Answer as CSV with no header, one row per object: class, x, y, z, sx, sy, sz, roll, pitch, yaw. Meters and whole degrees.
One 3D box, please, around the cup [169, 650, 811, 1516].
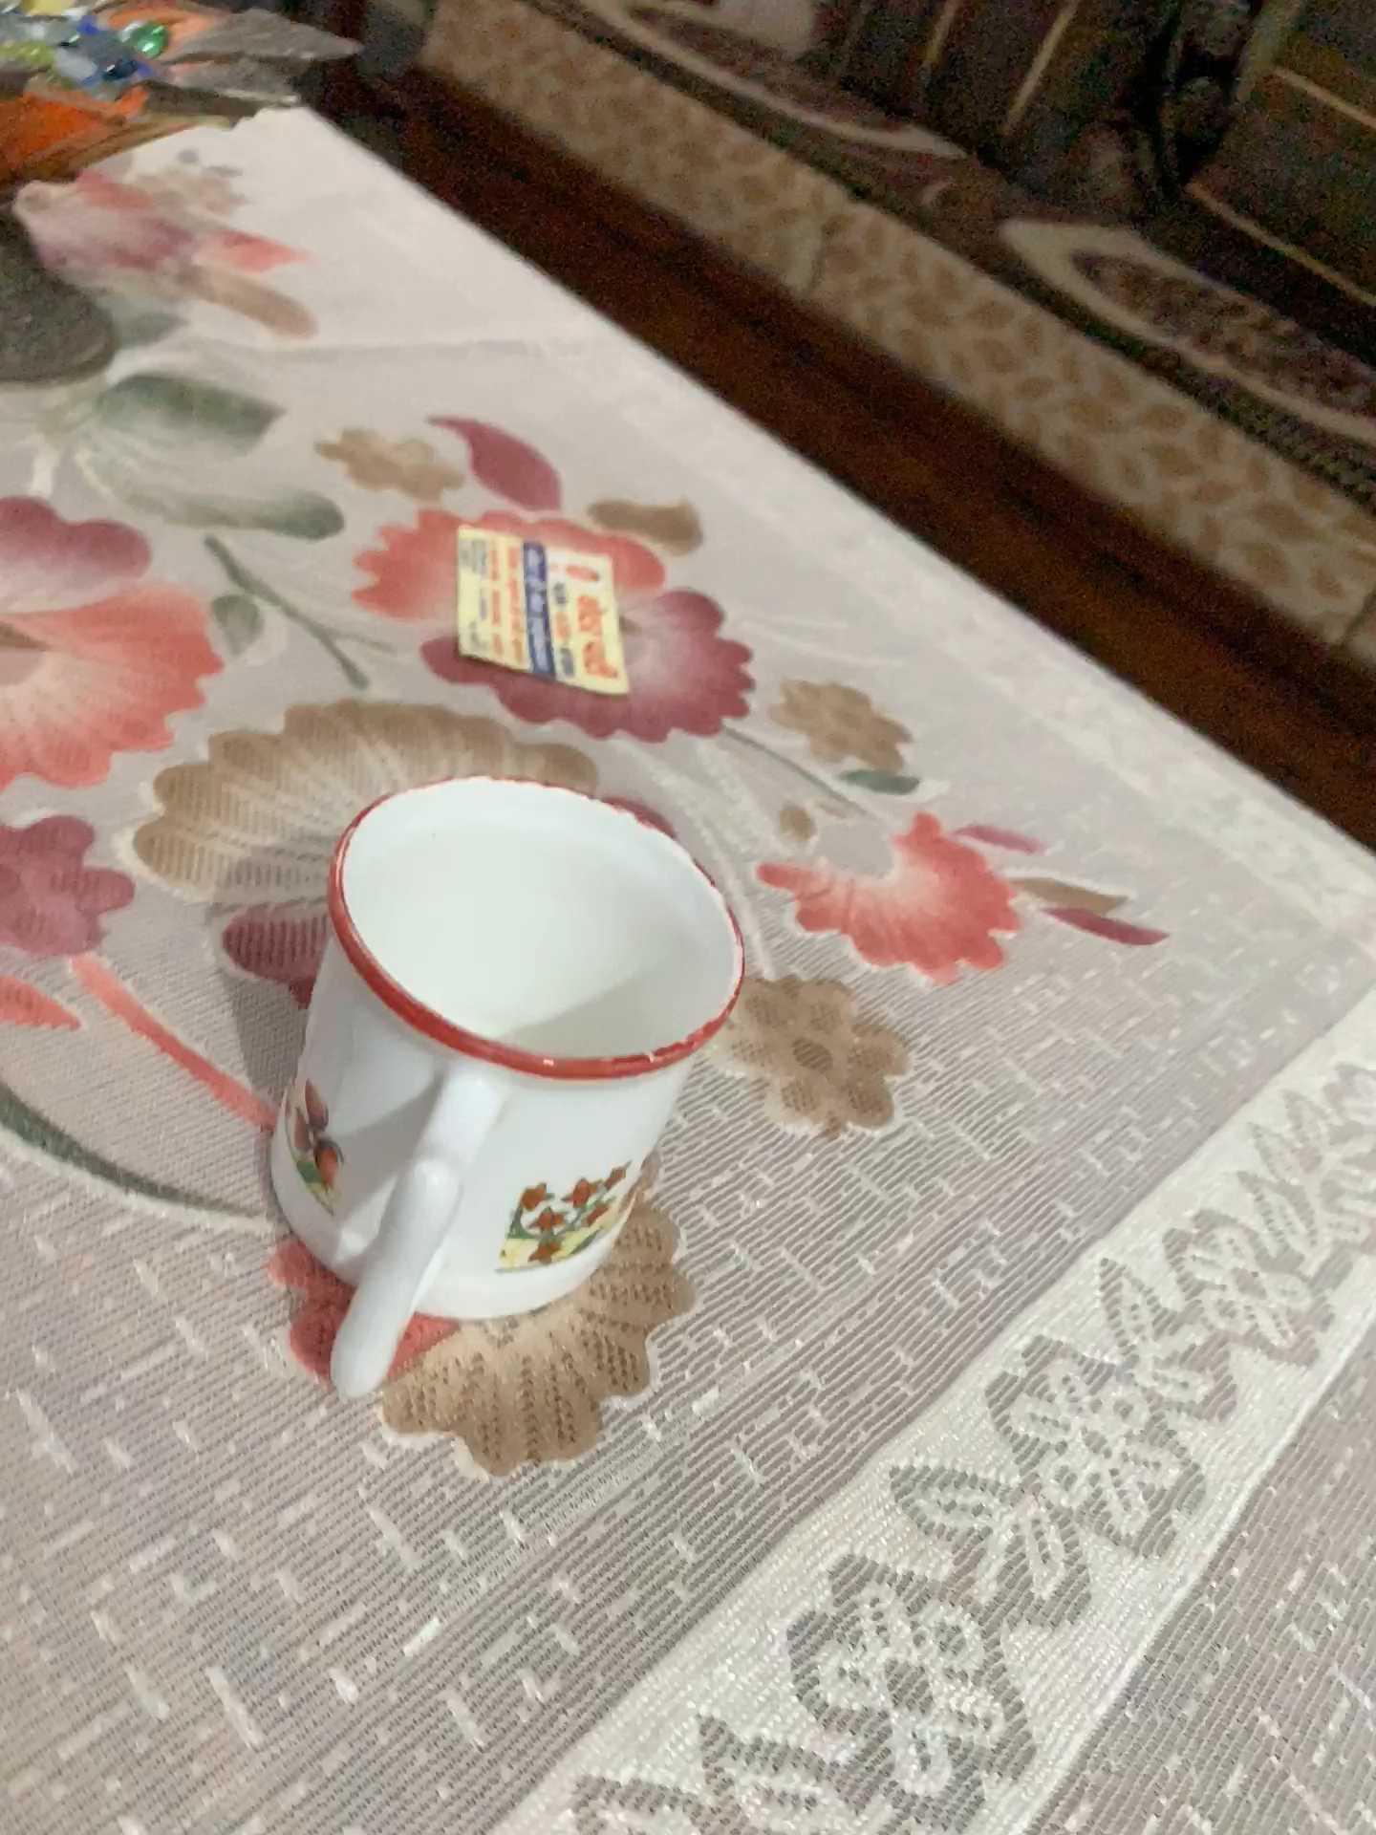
cup,-0.028,0.024,0.237,0.070,0.080,0.100,18,37,-7
